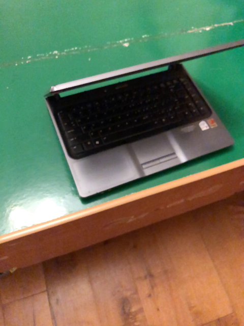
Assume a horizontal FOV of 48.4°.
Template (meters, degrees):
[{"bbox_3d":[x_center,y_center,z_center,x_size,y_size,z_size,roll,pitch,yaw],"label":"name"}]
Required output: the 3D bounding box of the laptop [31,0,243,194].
[{"bbox_3d":[0.043,-0.128,0.485,0.316,0.171,0.227,-18,65,-14],"label":"laptop"}]
